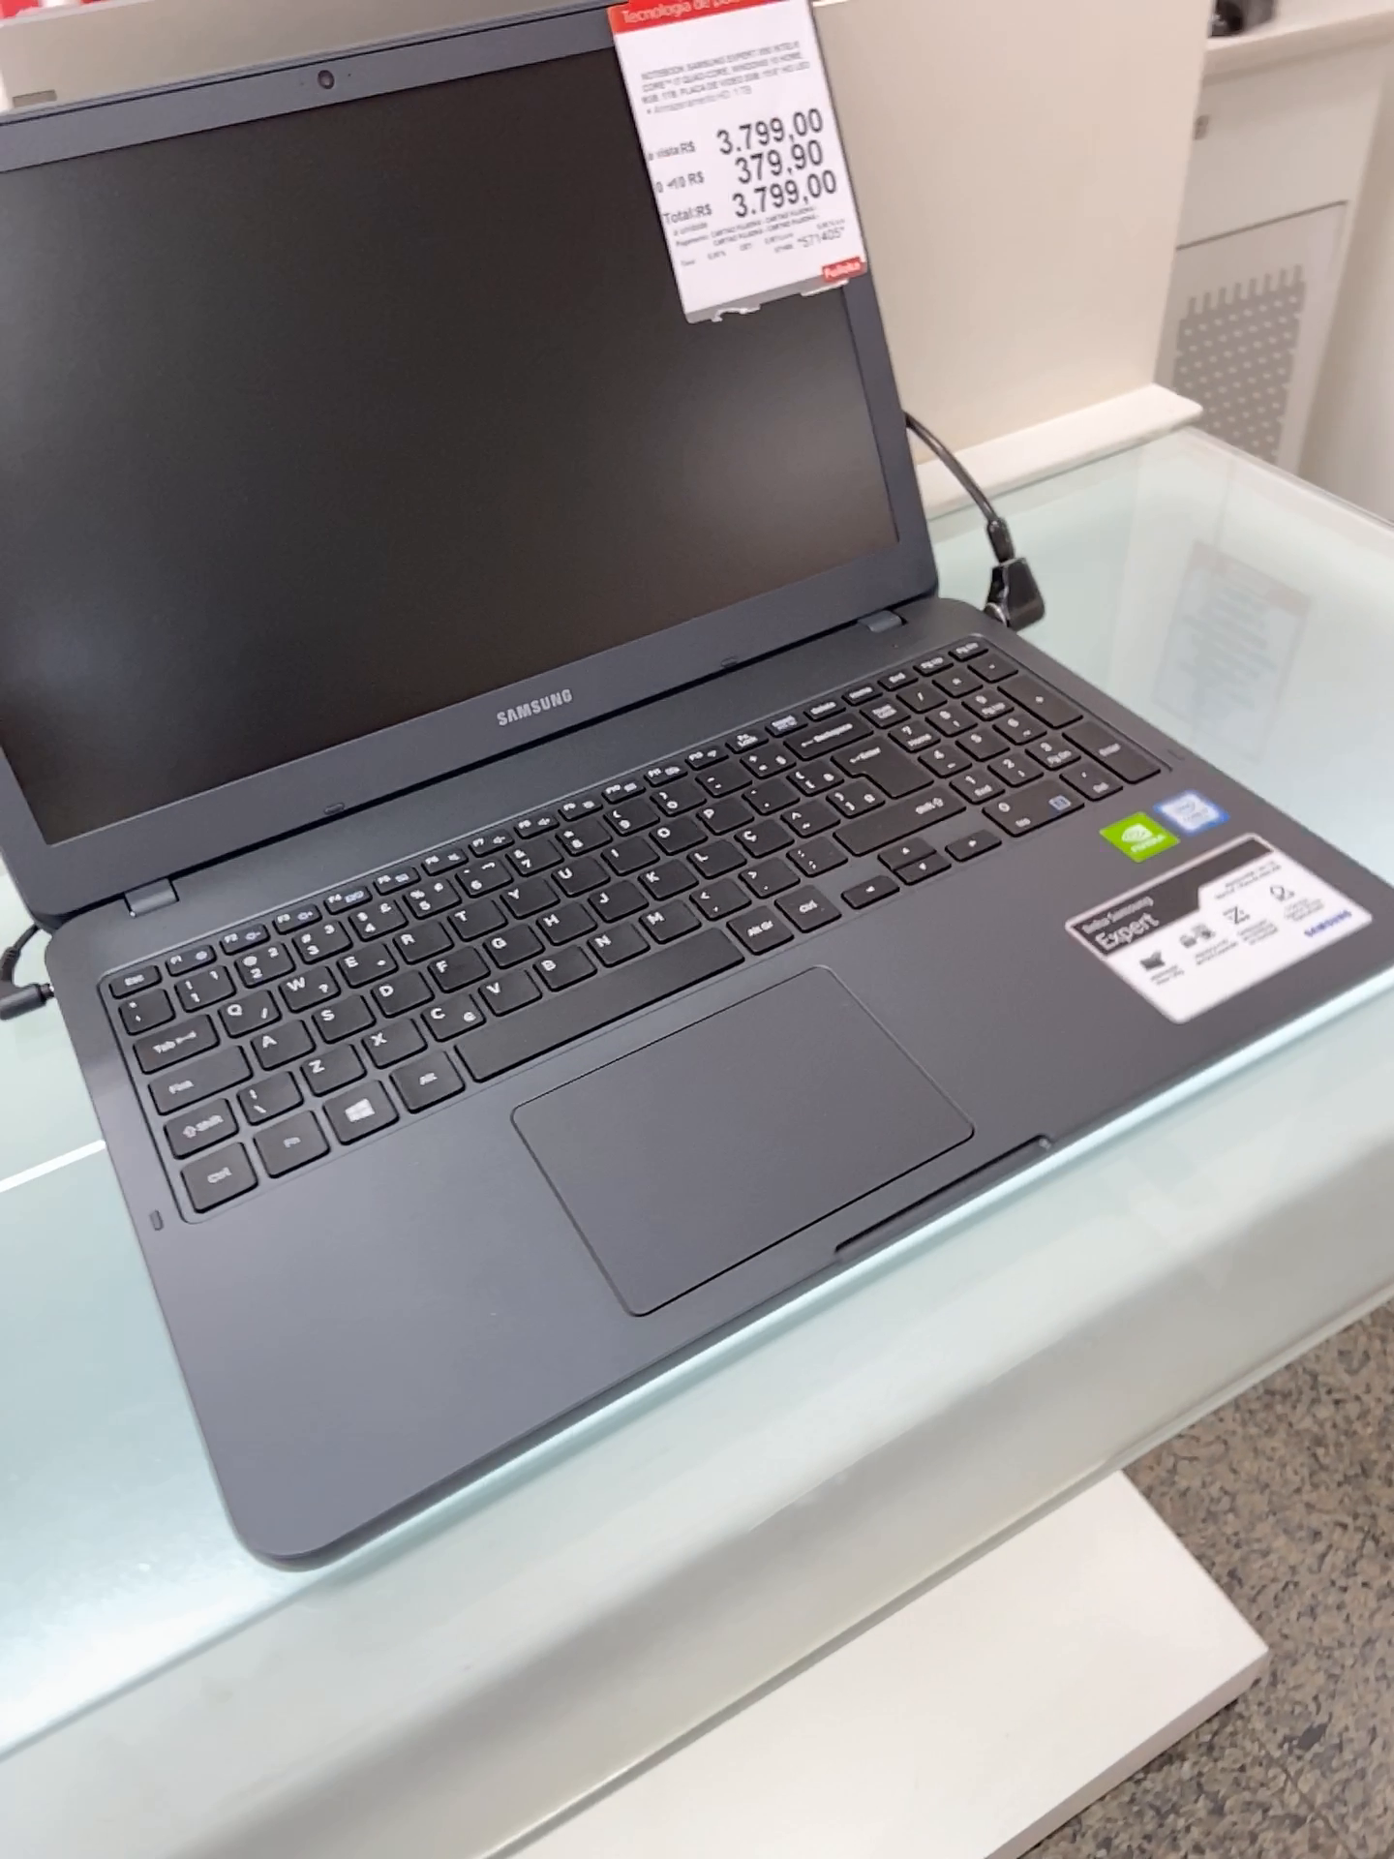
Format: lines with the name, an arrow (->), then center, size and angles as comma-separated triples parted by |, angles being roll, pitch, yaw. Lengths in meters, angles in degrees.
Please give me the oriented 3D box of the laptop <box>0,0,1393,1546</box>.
laptop -> -0.025, -0.105, 0.417 | 0.363, 0.208, 0.343 | -24, 46, -19
